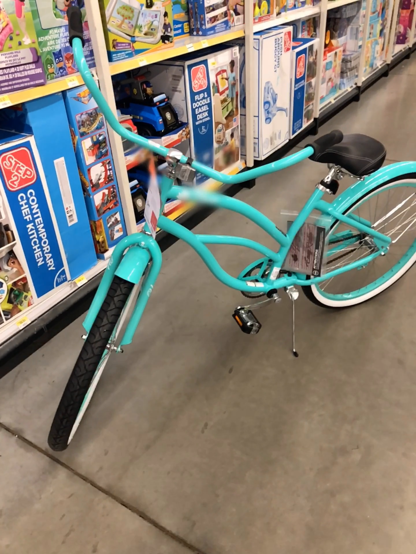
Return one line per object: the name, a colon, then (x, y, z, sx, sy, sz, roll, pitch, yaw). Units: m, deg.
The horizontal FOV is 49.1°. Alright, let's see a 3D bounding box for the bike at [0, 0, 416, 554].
bike: (0.199, -0.070, 1.350, 1.494, 1.143, 0.761, -26, 40, -23)
